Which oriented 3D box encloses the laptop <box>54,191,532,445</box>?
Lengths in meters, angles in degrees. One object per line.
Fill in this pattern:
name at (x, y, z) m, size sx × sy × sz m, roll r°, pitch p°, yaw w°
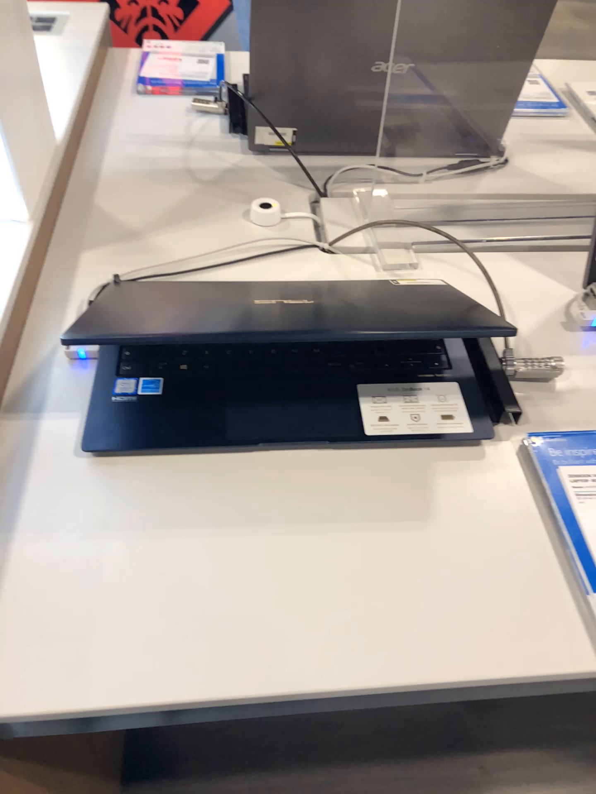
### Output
laptop at (-0.008, -0.072, 0.529) m, size 0.310 × 0.095 × 0.204 m, roll -1°, pitch 45°, yaw -5°
